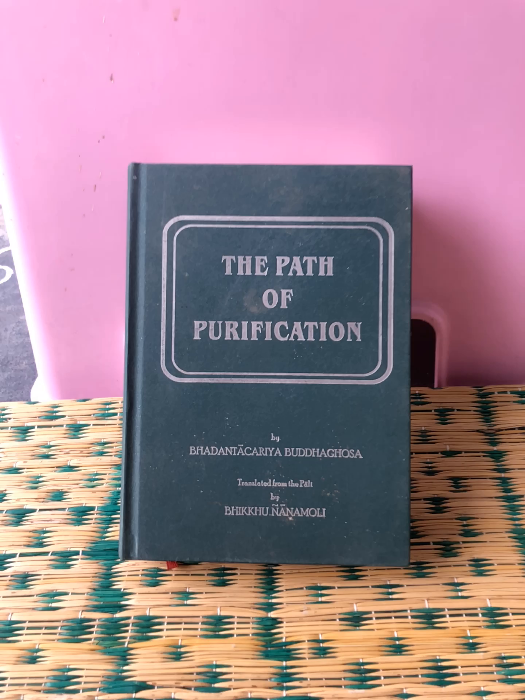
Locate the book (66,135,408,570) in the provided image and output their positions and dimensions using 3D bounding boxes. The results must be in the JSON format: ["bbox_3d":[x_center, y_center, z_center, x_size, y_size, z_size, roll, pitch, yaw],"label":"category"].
[{"bbox_3d":[-0.008,0.000,0.323,0.160,0.080,0.210,1,82,4],"label":"book"}]
